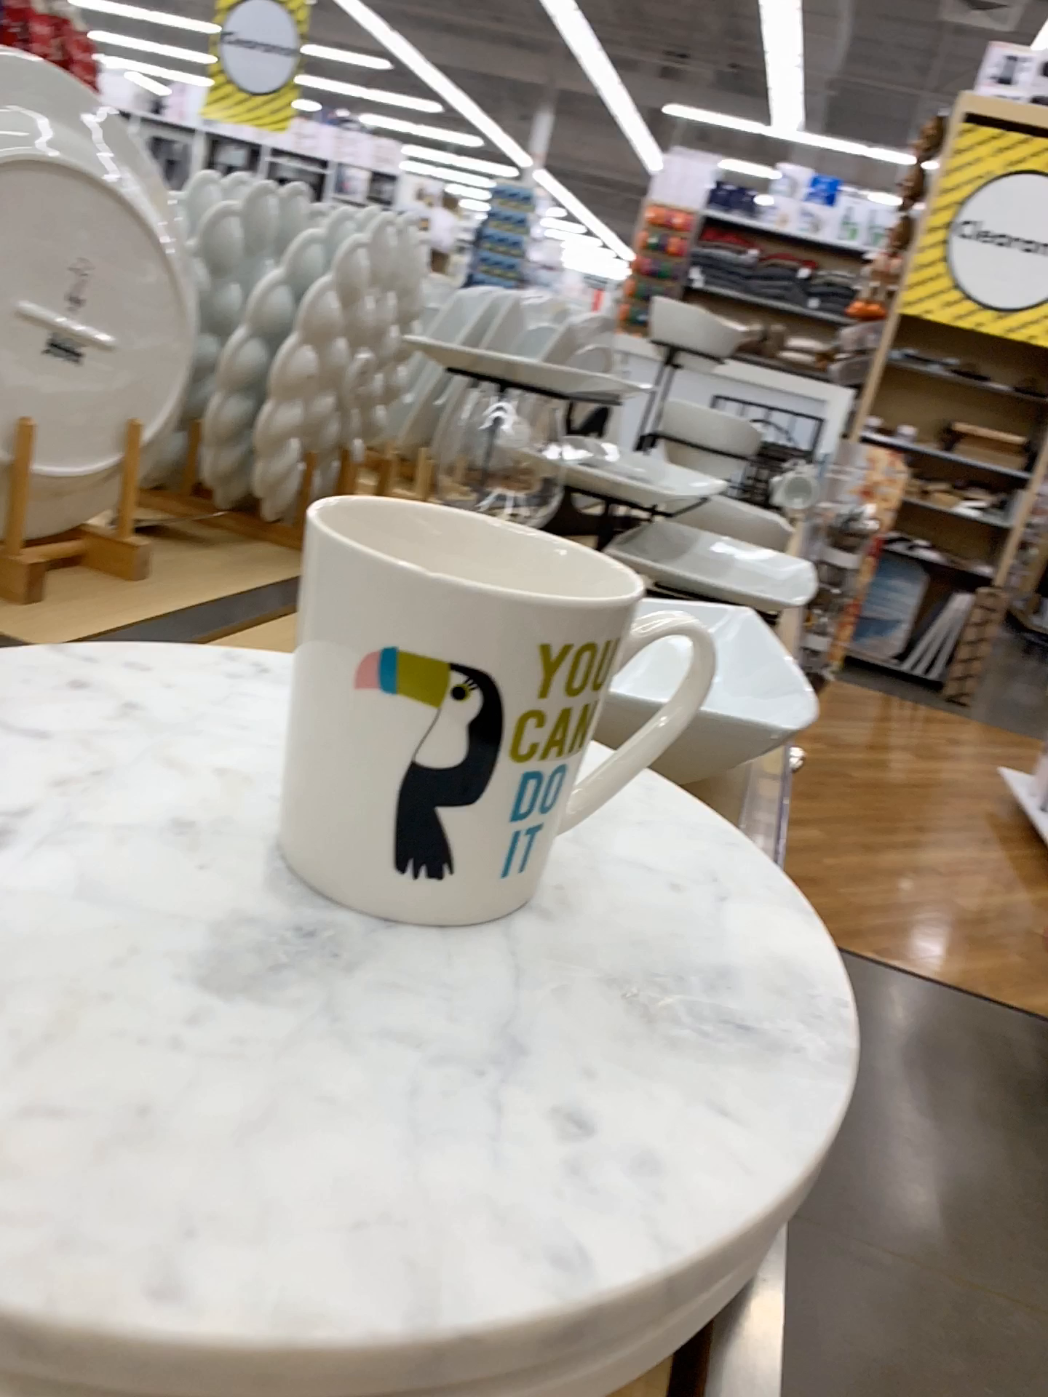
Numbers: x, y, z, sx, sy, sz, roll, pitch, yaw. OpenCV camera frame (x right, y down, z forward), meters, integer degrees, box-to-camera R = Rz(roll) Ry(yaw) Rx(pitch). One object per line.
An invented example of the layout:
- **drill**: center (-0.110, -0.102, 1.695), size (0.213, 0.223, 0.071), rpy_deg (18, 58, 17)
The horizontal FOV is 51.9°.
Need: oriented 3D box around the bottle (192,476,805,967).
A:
- **bottle**: center (-0.016, 0.006, 0.335), size (0.143, 0.107, 0.104), rpy_deg (6, 19, -26)
